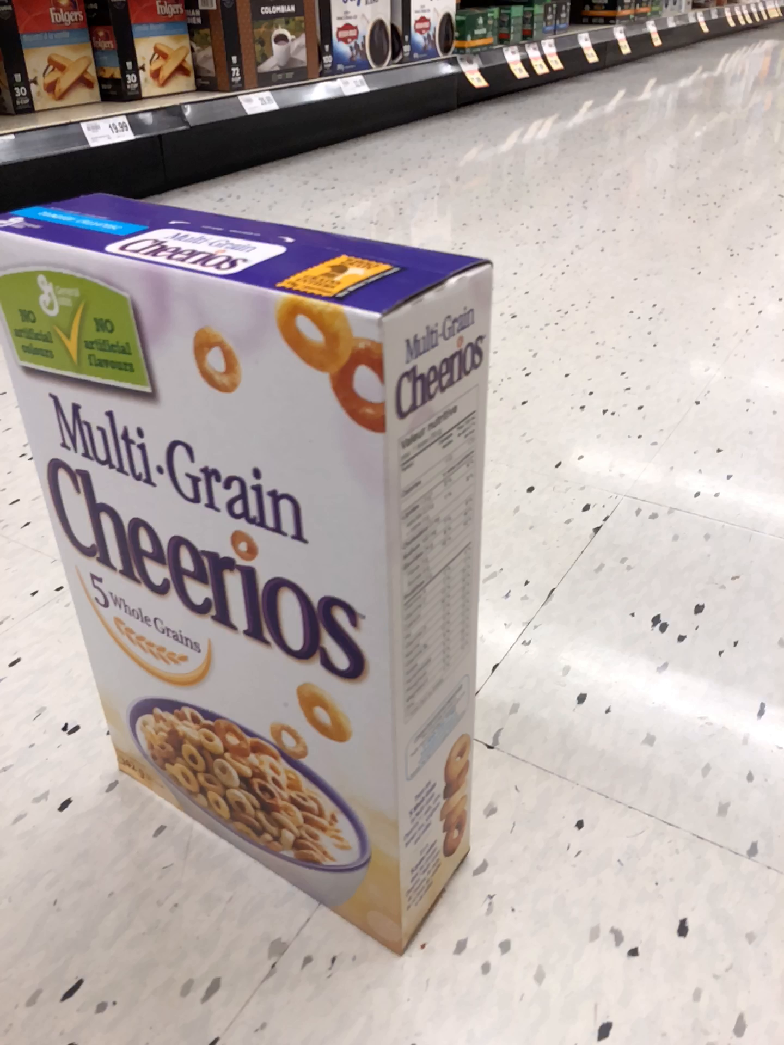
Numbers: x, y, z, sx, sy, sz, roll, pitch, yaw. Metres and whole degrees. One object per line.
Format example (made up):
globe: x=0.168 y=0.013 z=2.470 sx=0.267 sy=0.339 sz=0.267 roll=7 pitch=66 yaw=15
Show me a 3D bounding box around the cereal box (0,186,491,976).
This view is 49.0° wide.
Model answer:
cereal box: x=-0.062 y=0.032 z=0.372 sx=0.190 sy=0.308 sz=0.060 roll=20 pitch=38 yaw=29
